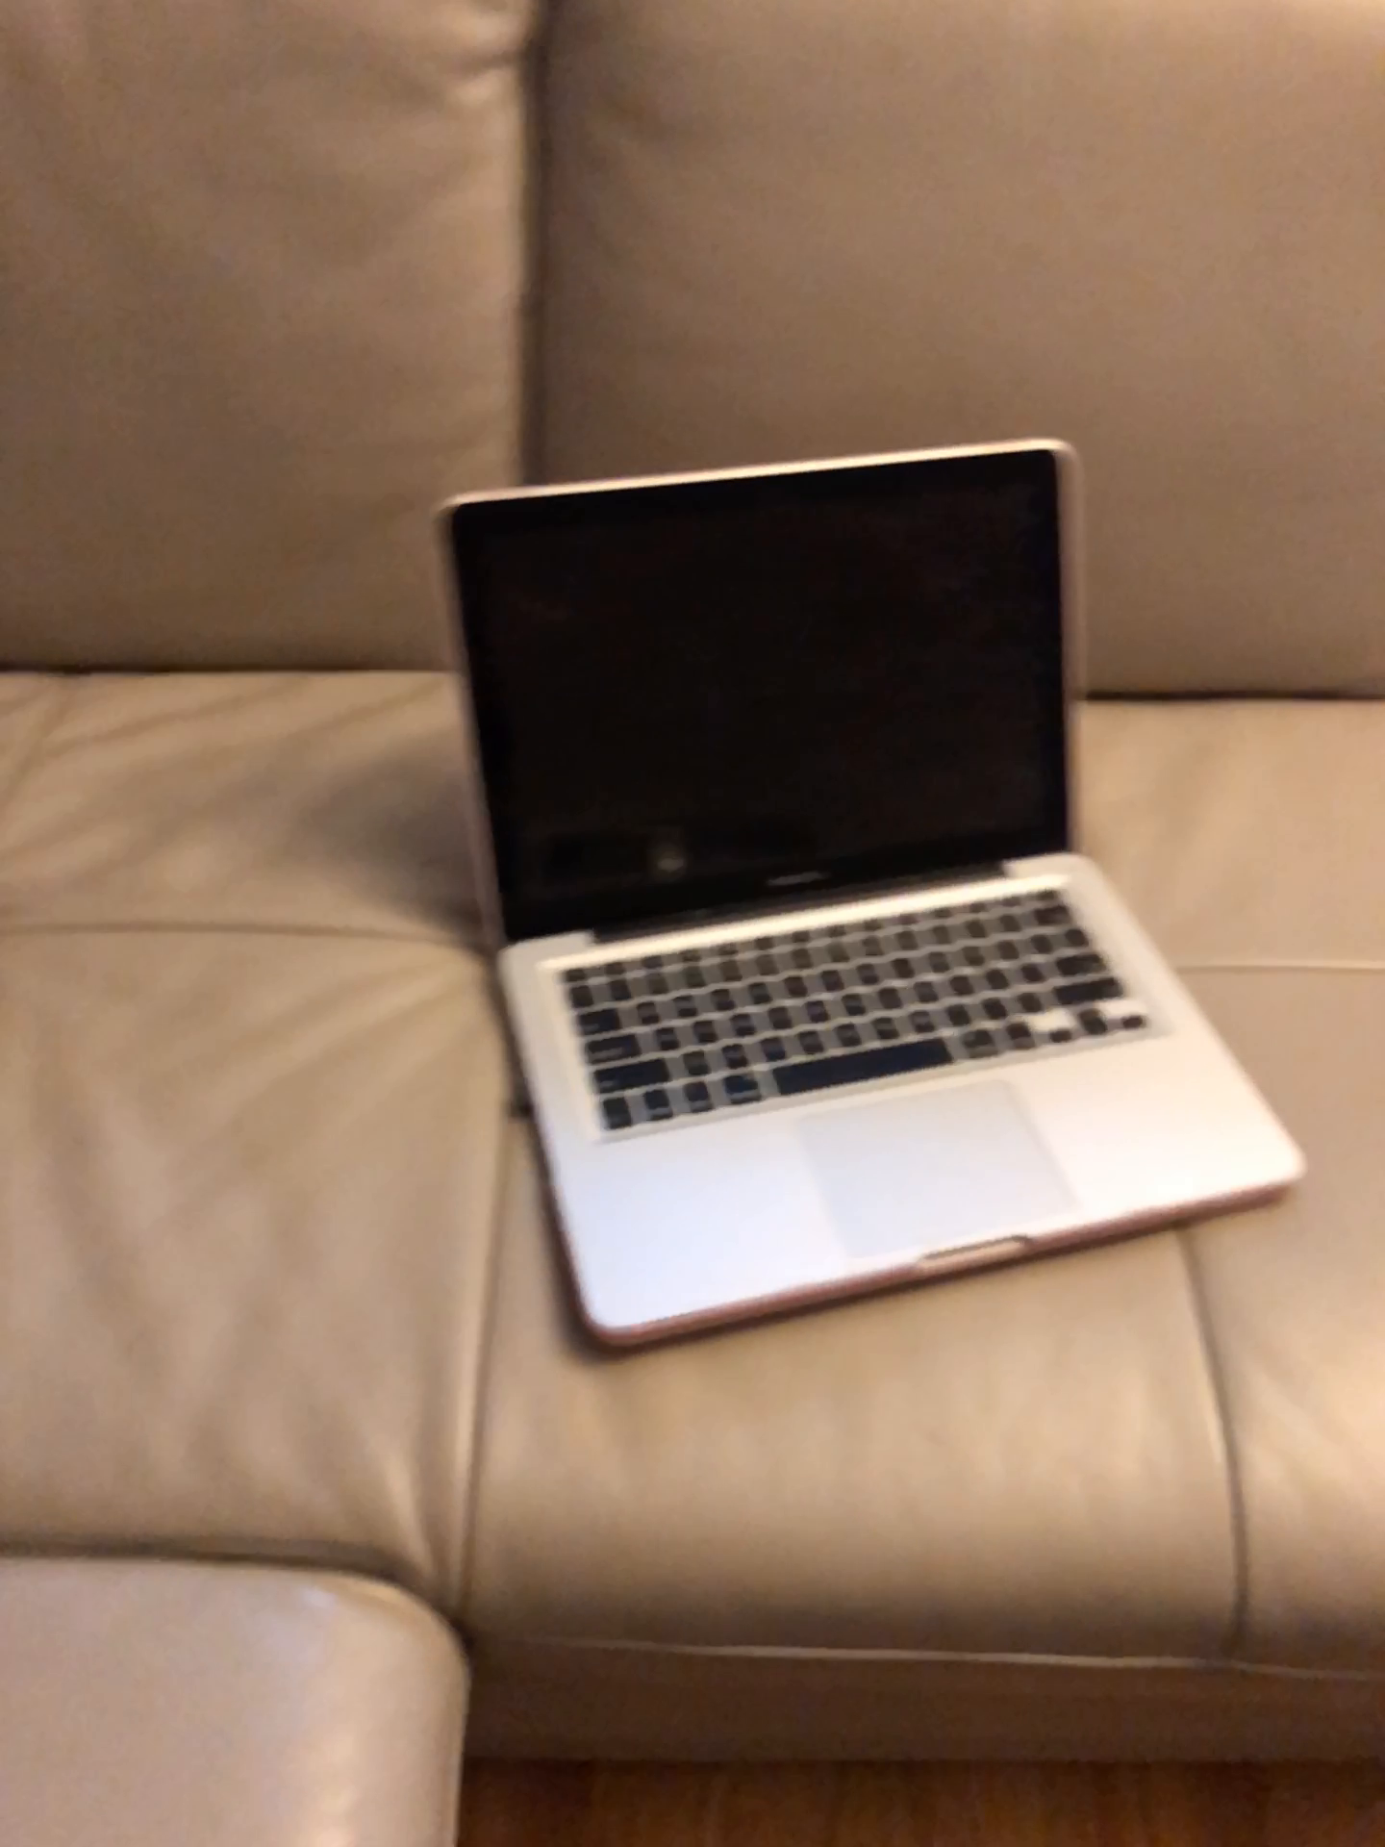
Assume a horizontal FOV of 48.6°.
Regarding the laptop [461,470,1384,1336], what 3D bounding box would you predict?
[{"bbox_3d":[0.078,-0.033,0.683,0.308,0.166,0.324,-10,46,-12],"label":"laptop"}]
